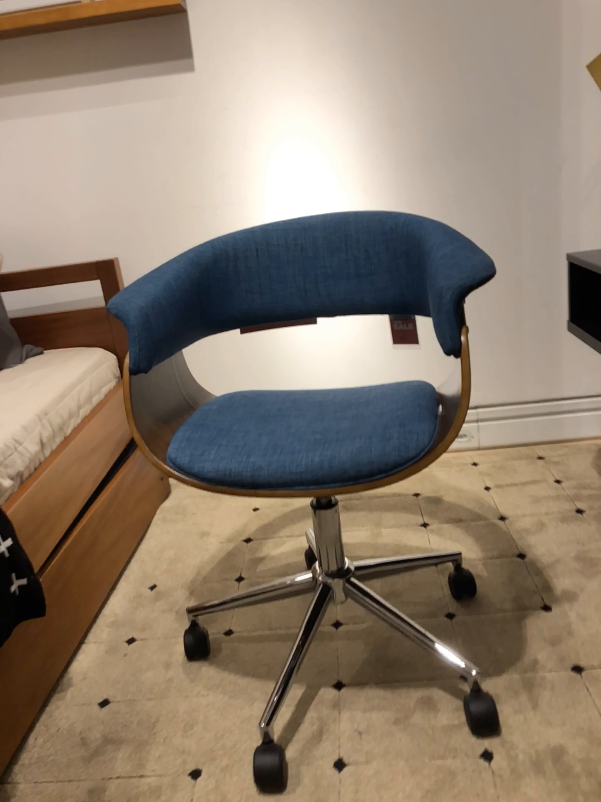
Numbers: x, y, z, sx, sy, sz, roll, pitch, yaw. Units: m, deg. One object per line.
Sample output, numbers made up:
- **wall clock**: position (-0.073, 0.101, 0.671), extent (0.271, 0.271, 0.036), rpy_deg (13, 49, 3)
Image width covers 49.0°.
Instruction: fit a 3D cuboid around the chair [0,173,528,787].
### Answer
- **chair**: position (-0.006, 0.063, 1.125), extent (0.610, 0.775, 0.674), rpy_deg (-5, 19, 8)
